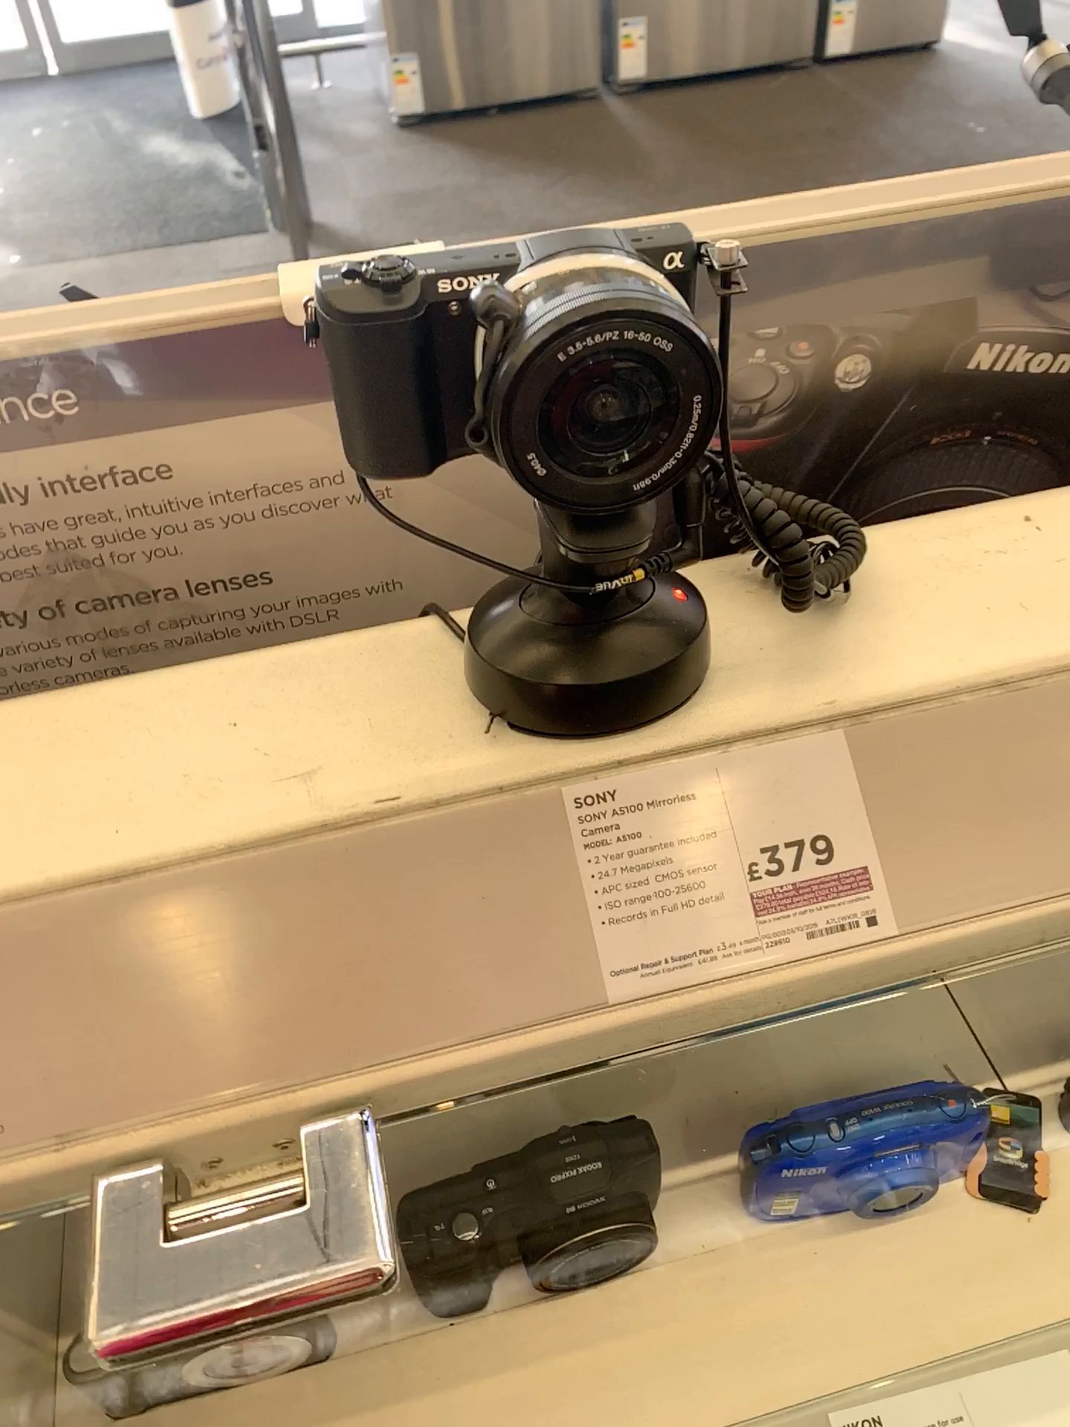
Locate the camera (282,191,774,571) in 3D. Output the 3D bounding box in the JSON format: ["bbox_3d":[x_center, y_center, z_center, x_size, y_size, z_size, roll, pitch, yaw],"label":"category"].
[{"bbox_3d":[-0.005,-0.098,0.316,0.120,0.059,0.081,-10,44,-6],"label":"camera"}]
